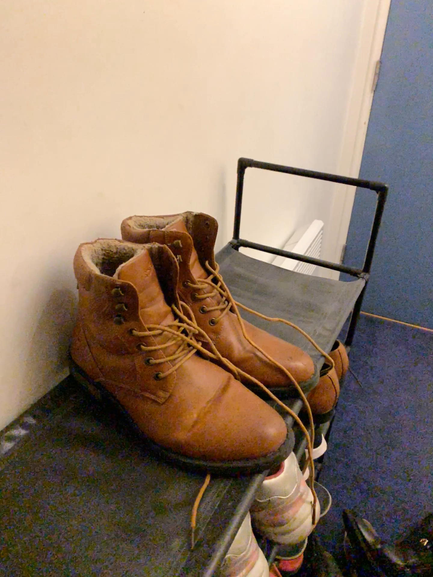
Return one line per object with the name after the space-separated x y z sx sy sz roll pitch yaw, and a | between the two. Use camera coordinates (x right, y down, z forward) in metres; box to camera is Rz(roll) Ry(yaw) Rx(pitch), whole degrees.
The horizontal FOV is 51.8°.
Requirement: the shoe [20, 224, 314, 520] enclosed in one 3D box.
-0.056 0.071 0.476 0.271 0.198 0.111 19 34 28 | shoe

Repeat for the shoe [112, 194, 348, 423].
0.013 0.015 0.548 0.240 0.198 0.111 14 32 21 | shoe
